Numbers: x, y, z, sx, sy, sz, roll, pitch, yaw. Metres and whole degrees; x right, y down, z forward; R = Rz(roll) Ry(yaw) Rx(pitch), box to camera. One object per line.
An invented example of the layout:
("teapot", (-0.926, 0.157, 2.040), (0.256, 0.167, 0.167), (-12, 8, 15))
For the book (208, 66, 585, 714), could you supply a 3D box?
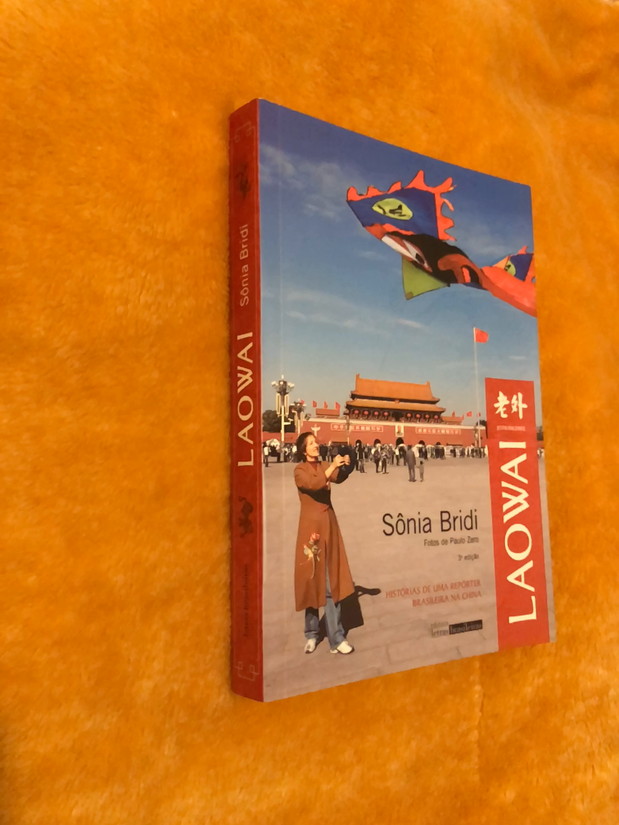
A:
("book", (0.042, -0.010, 0.310), (0.171, 0.040, 0.240), (2, 82, -29))
